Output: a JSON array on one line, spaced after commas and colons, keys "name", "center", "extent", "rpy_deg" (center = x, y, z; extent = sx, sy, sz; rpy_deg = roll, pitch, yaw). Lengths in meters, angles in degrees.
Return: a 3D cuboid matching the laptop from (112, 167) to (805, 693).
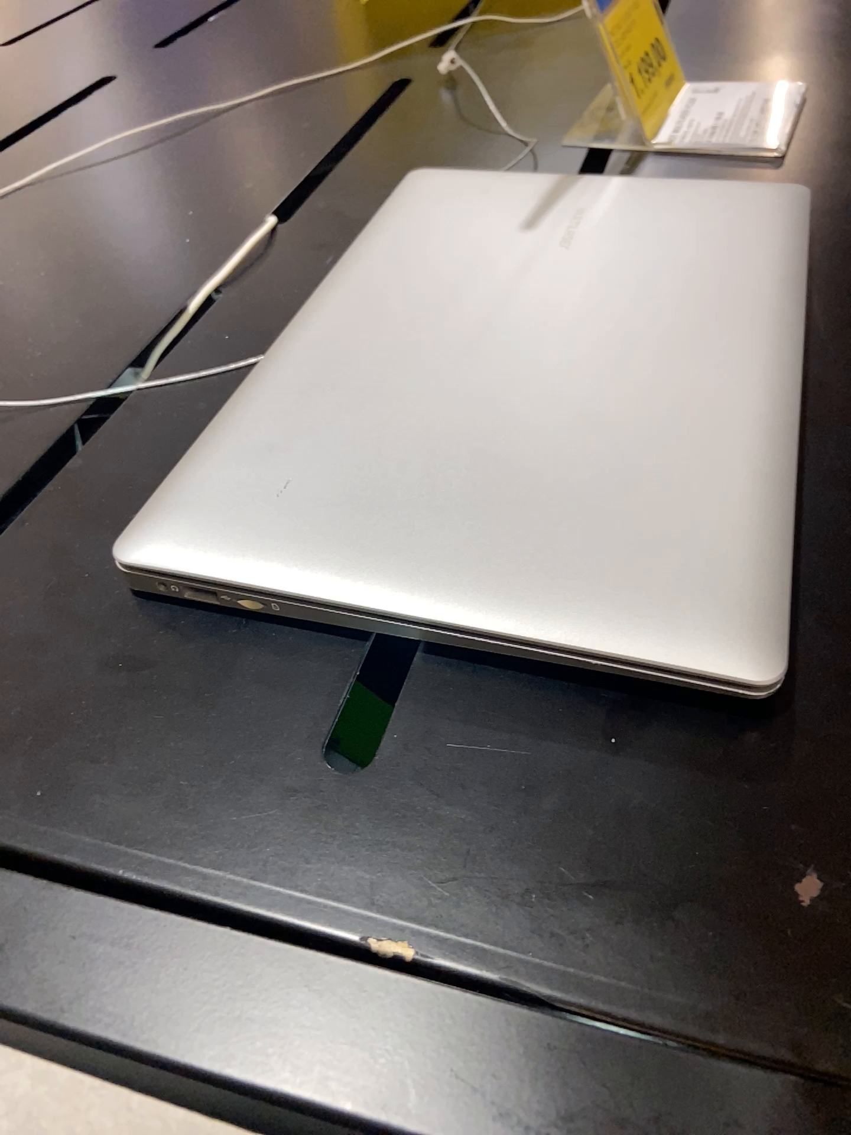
[{"name": "laptop", "center": [0.044, -0.095, 0.362], "extent": [0.205, 0.003, 0.316], "rpy_deg": [10, 47, 15]}]
